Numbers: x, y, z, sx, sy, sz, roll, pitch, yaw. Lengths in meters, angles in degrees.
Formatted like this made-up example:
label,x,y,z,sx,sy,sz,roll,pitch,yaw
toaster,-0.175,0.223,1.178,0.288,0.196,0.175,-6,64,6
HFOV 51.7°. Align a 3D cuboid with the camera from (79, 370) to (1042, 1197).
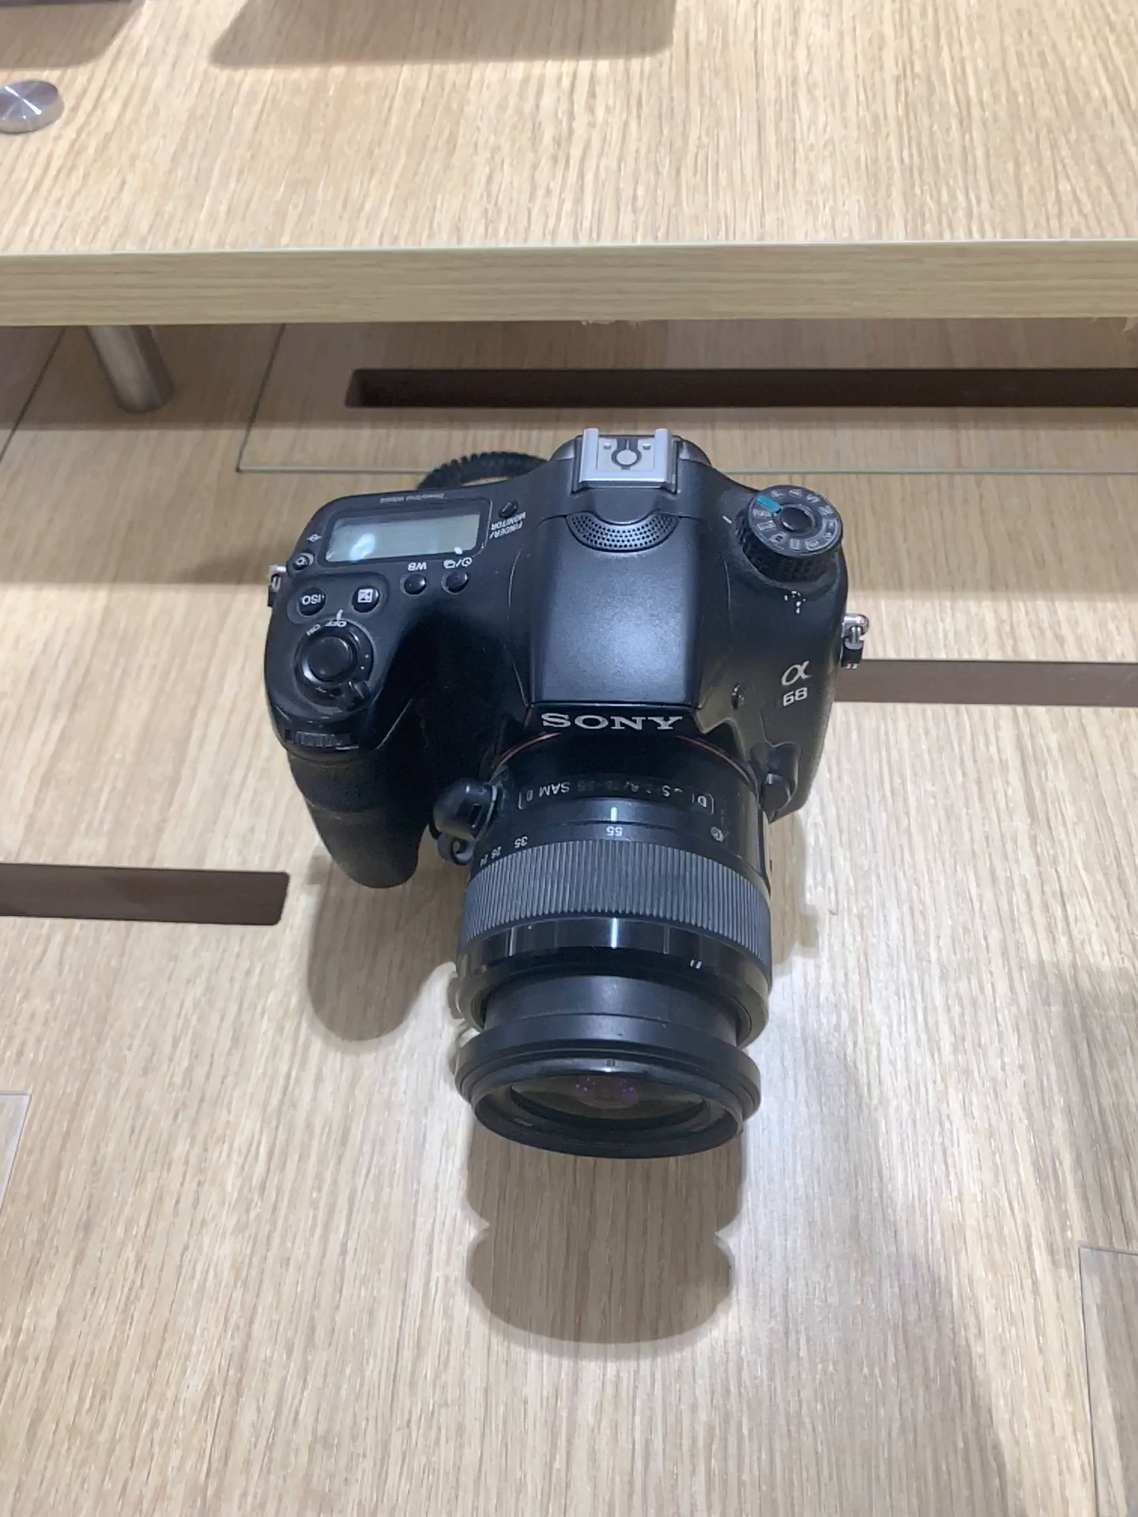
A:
label,x,y,z,sx,sy,sz,roll,pitch,yaw
camera,0.005,0.003,0.265,0.150,0.100,0.150,2,56,5
